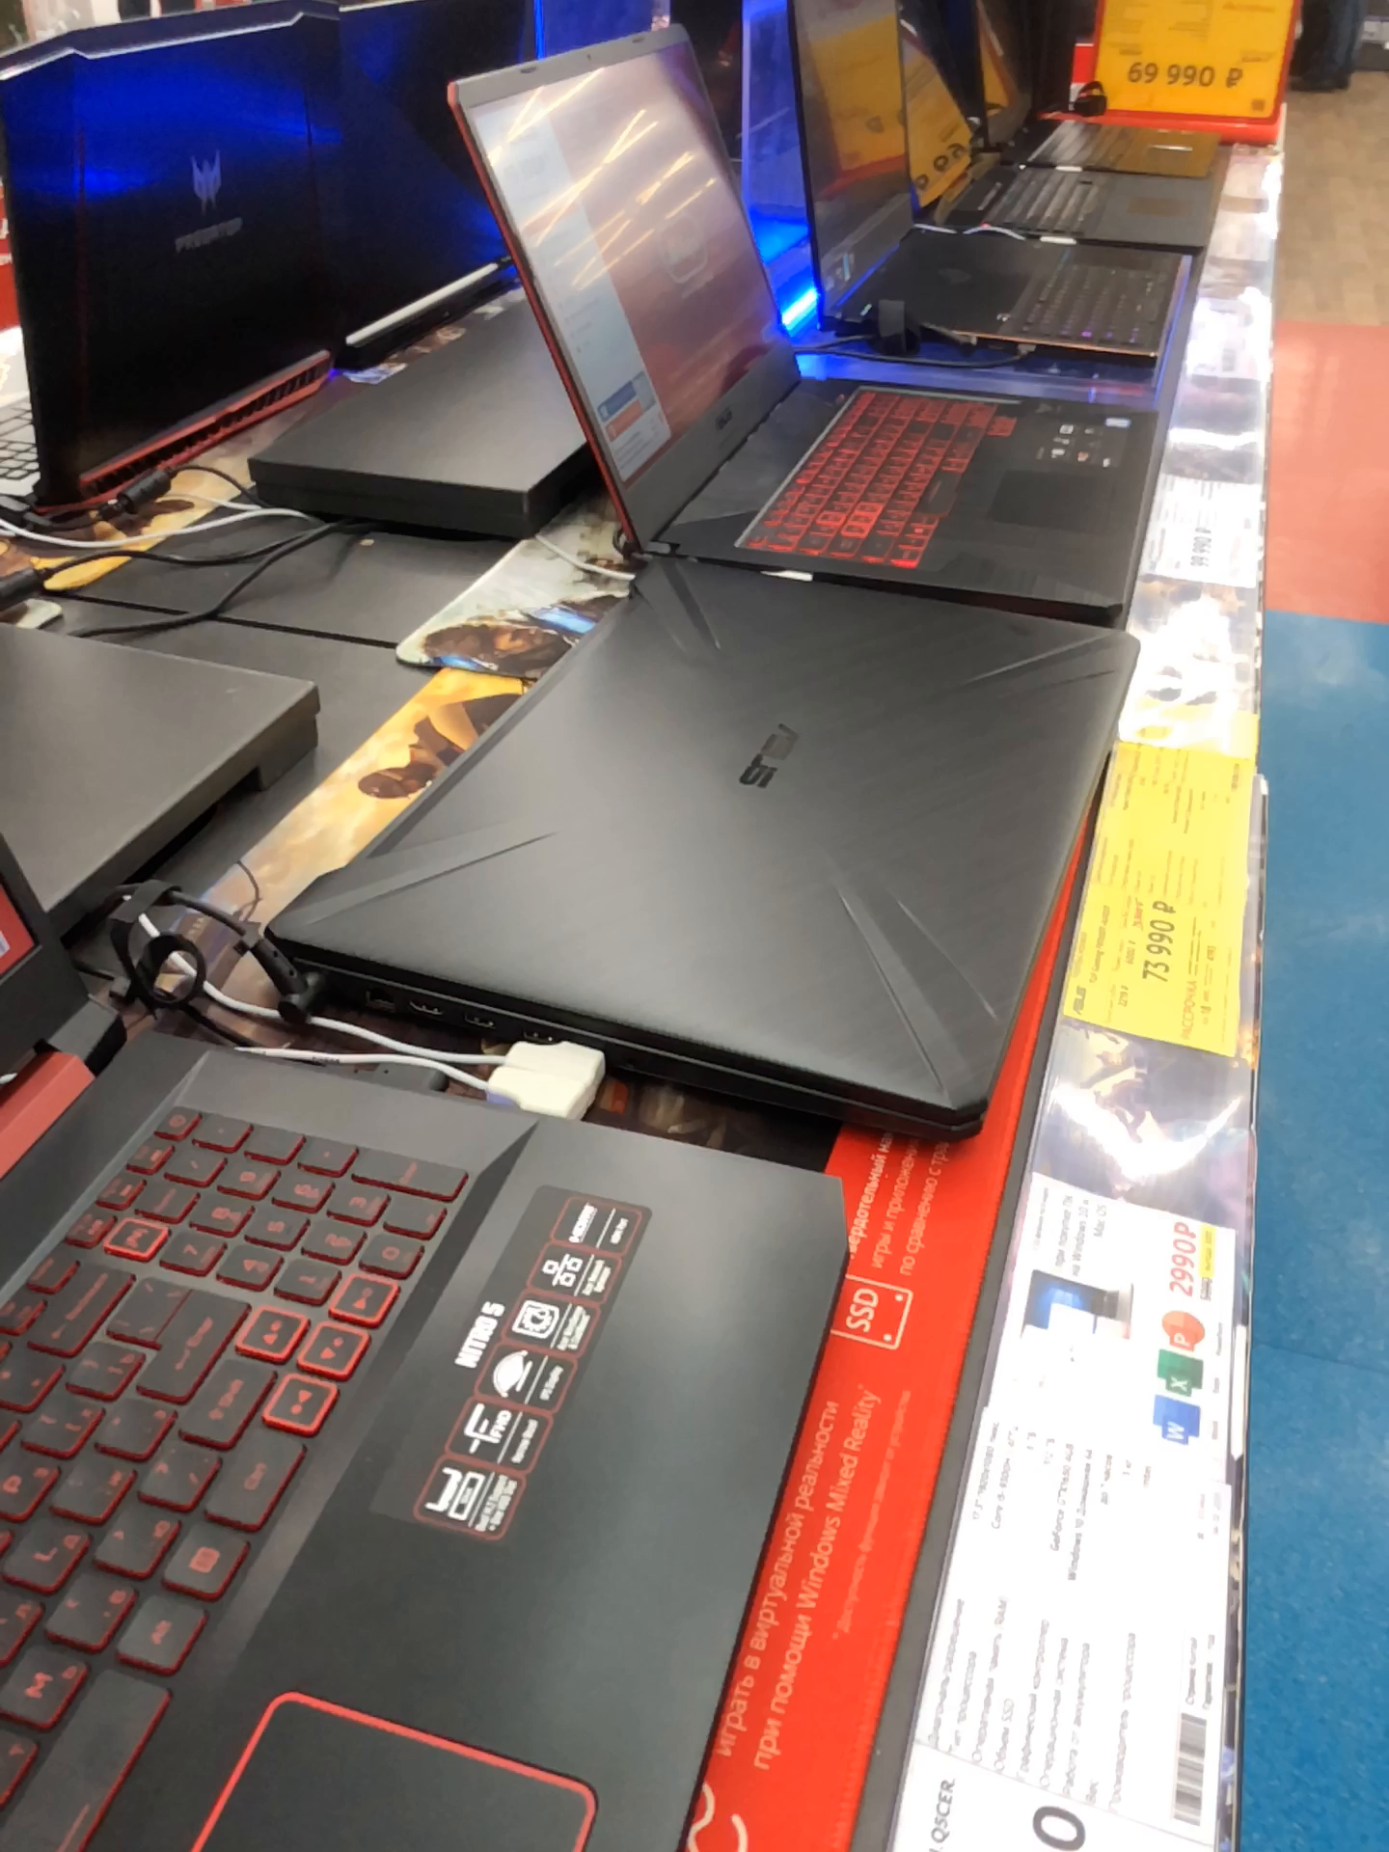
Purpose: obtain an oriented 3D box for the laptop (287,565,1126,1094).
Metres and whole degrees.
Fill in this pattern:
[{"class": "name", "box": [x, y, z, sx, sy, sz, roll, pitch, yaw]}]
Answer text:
[{"class": "laptop", "box": [0.036, -0.076, 0.694, 0.261, 0.001, 0.387, 13, 37, 17]}]
